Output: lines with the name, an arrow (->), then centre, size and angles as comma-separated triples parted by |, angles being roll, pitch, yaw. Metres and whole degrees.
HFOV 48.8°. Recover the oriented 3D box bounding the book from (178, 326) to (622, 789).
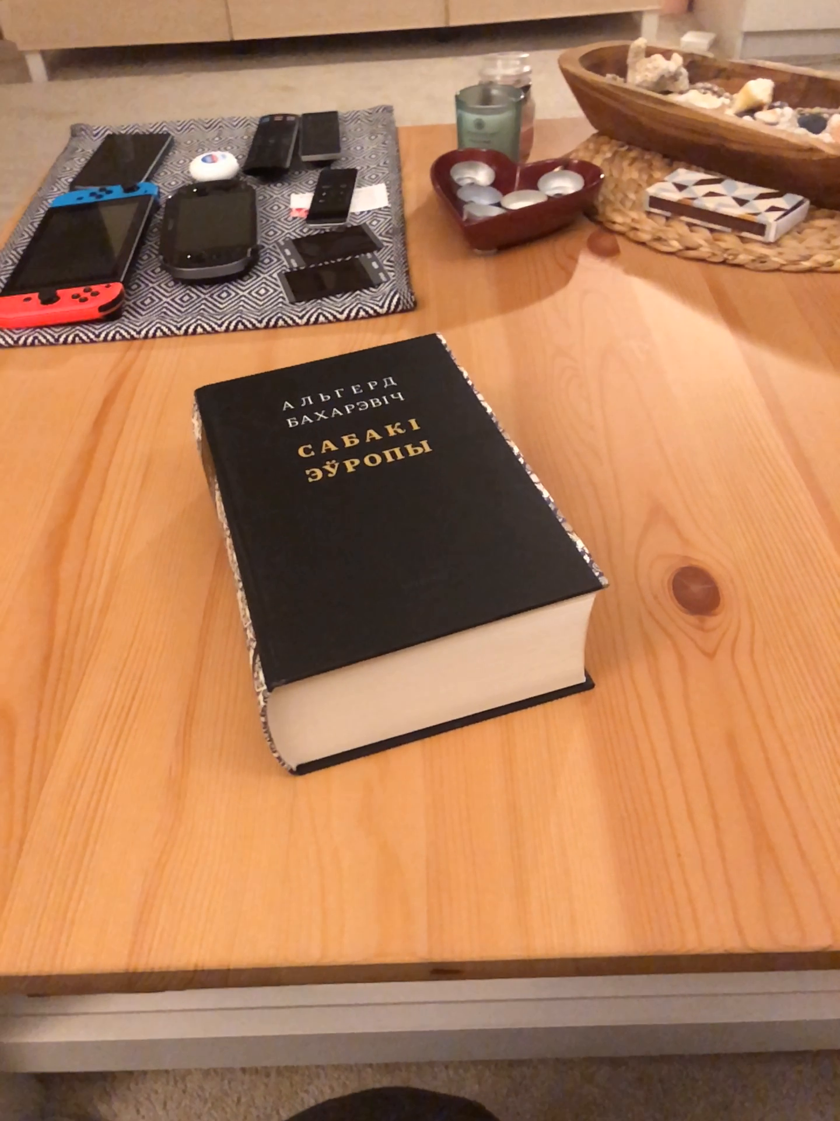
book -> -0.023, -0.019, 0.475 | 0.157, 0.061, 0.230 | -16, 46, -10
